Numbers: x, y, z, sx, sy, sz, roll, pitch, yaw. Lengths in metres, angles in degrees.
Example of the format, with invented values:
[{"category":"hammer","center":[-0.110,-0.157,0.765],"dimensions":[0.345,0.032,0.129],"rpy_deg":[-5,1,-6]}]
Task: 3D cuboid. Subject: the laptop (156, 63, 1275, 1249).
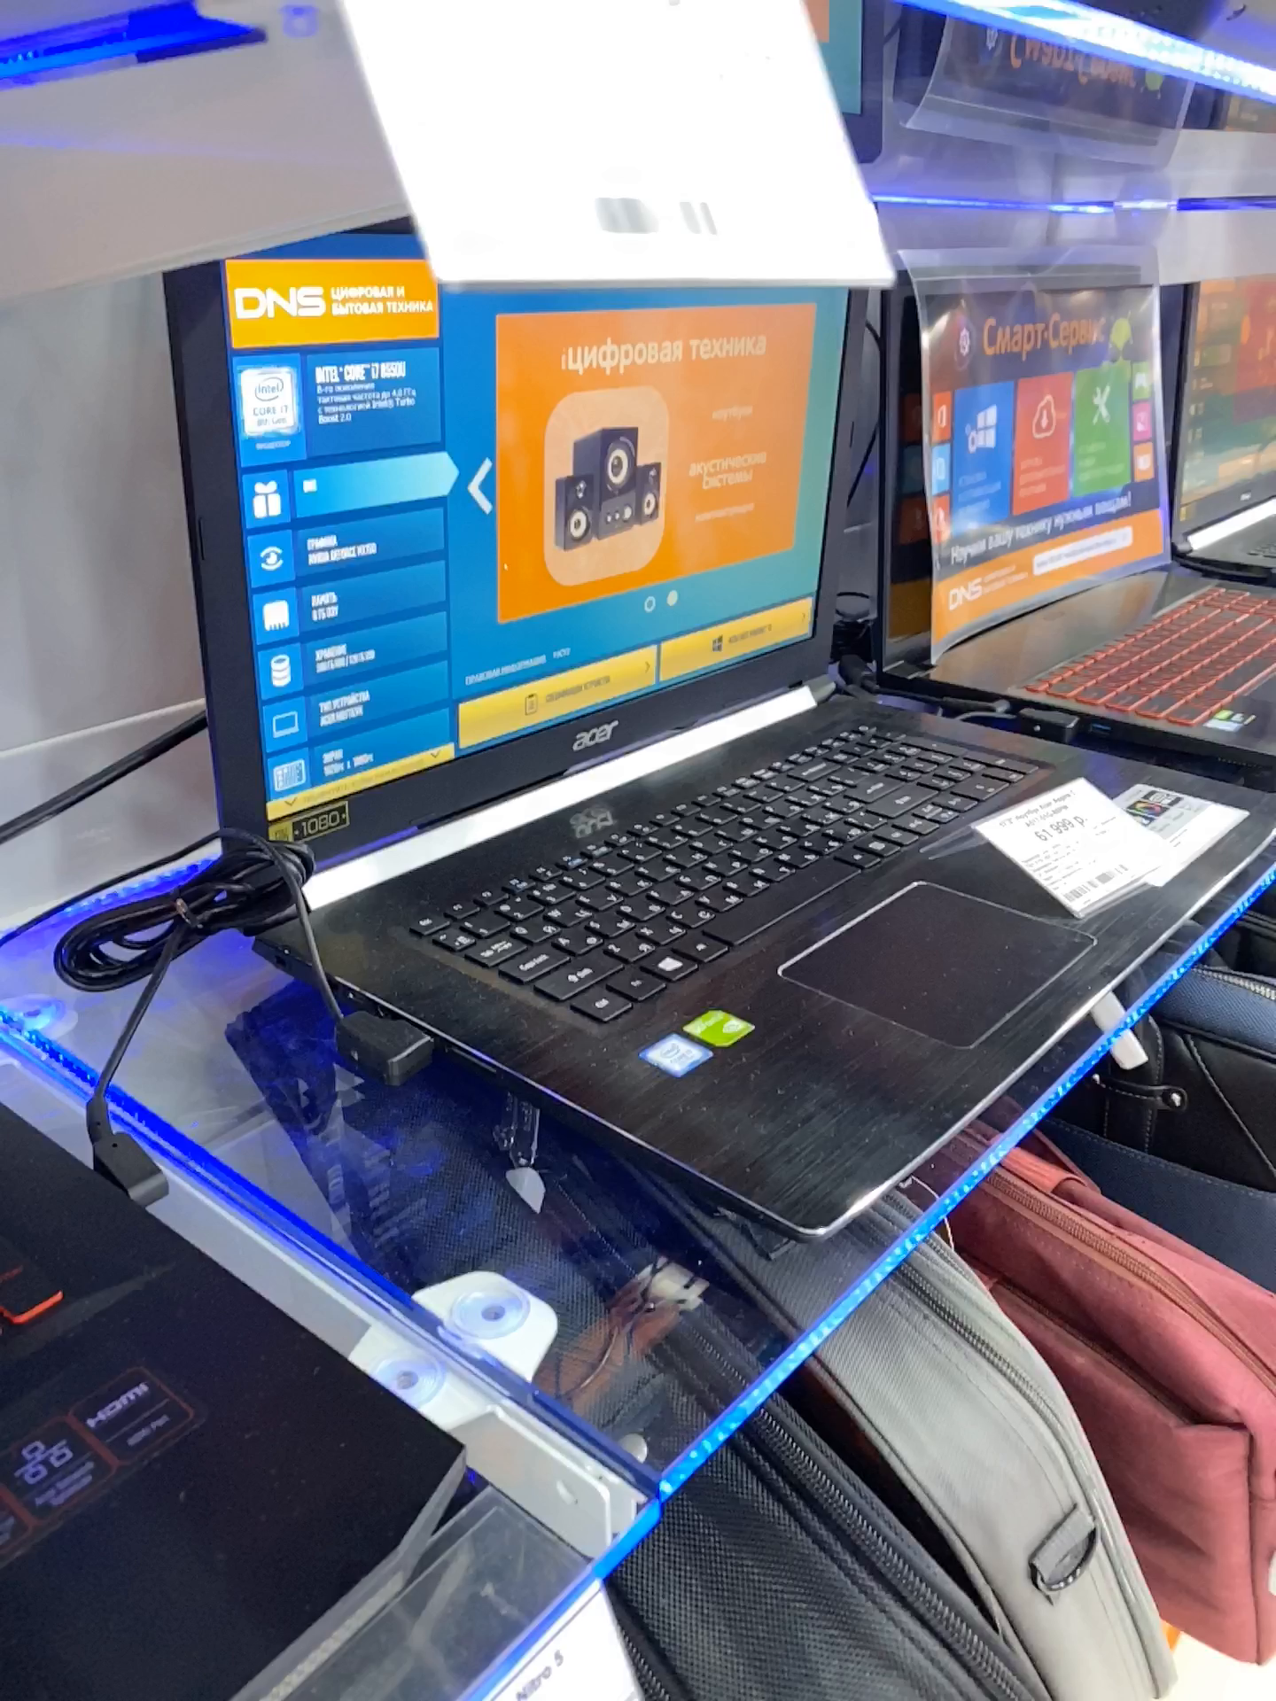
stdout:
[{"category":"laptop","center":[0.088,-0.118,0.528],"dimensions":[0.273,0.277,0.422],"rpy_deg":[19,30,37]}]
